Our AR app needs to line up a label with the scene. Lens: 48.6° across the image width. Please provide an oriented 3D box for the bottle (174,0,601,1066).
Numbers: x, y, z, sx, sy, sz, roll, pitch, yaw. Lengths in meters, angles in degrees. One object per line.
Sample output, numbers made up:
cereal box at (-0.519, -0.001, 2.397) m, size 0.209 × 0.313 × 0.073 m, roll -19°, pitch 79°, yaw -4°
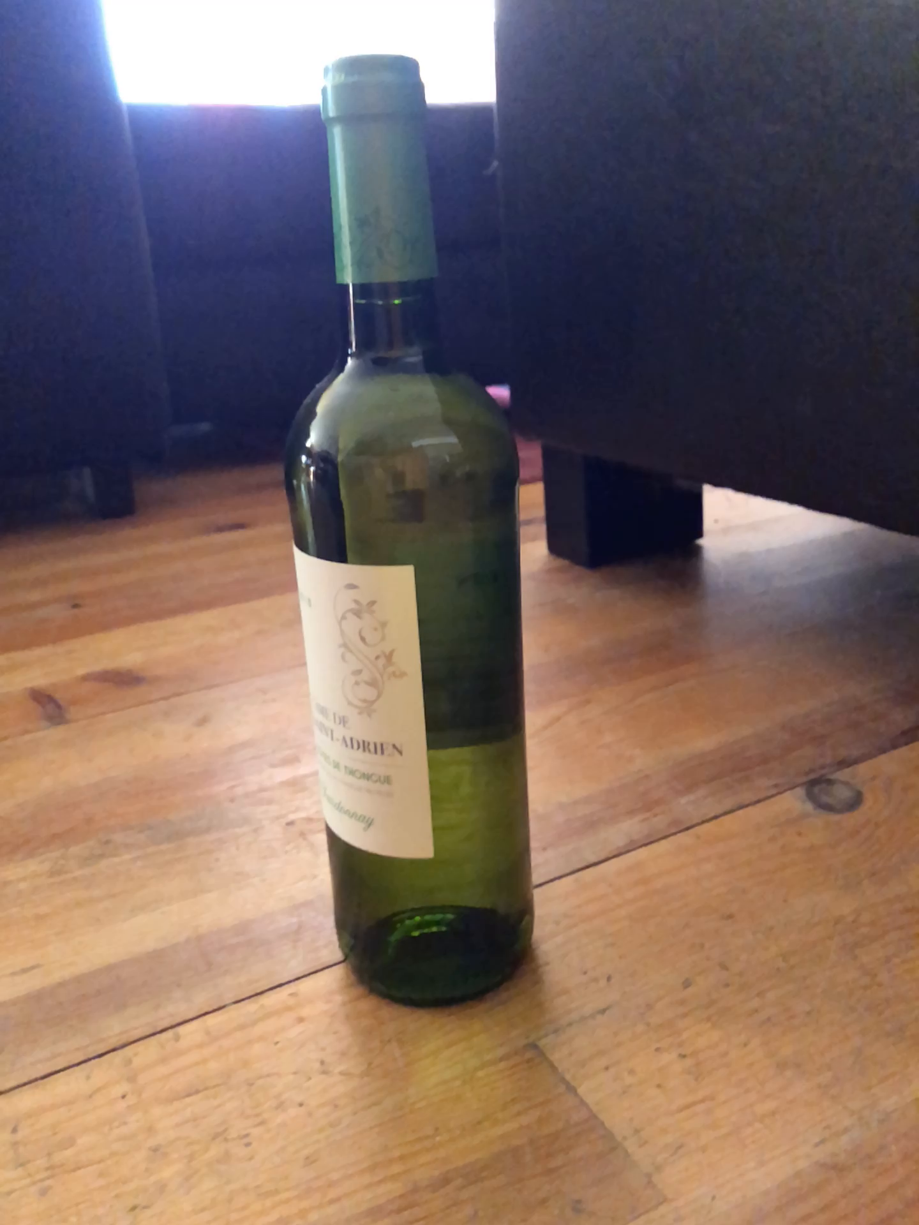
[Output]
bottle at (-0.013, -0.015, 0.329) m, size 0.080 × 0.299 × 0.080 m, roll -3°, pitch 19°, yaw 1°
